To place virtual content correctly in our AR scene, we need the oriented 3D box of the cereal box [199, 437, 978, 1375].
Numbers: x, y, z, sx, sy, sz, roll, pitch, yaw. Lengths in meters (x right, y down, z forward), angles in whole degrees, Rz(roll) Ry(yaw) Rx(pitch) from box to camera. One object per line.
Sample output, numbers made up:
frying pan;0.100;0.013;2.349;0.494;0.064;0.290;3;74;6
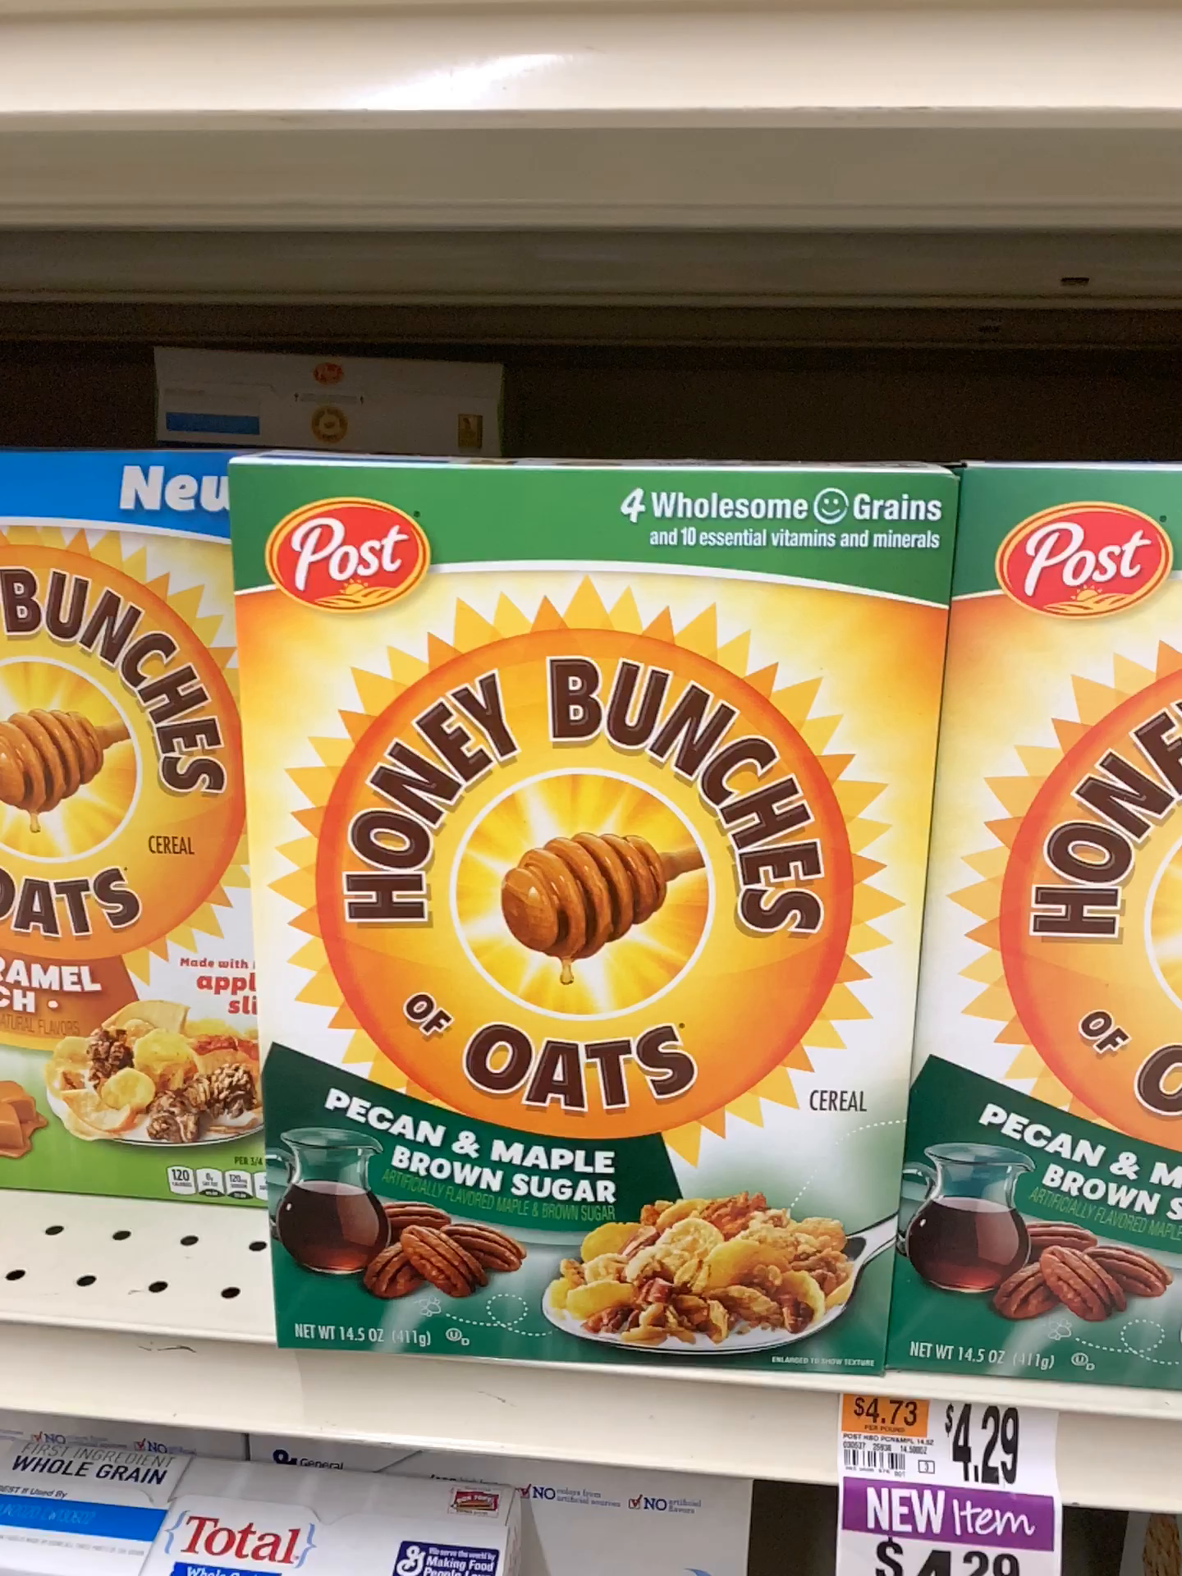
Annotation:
cereal box;-0.003;0.039;0.376;0.200;0.279;0.060;1;15;1
